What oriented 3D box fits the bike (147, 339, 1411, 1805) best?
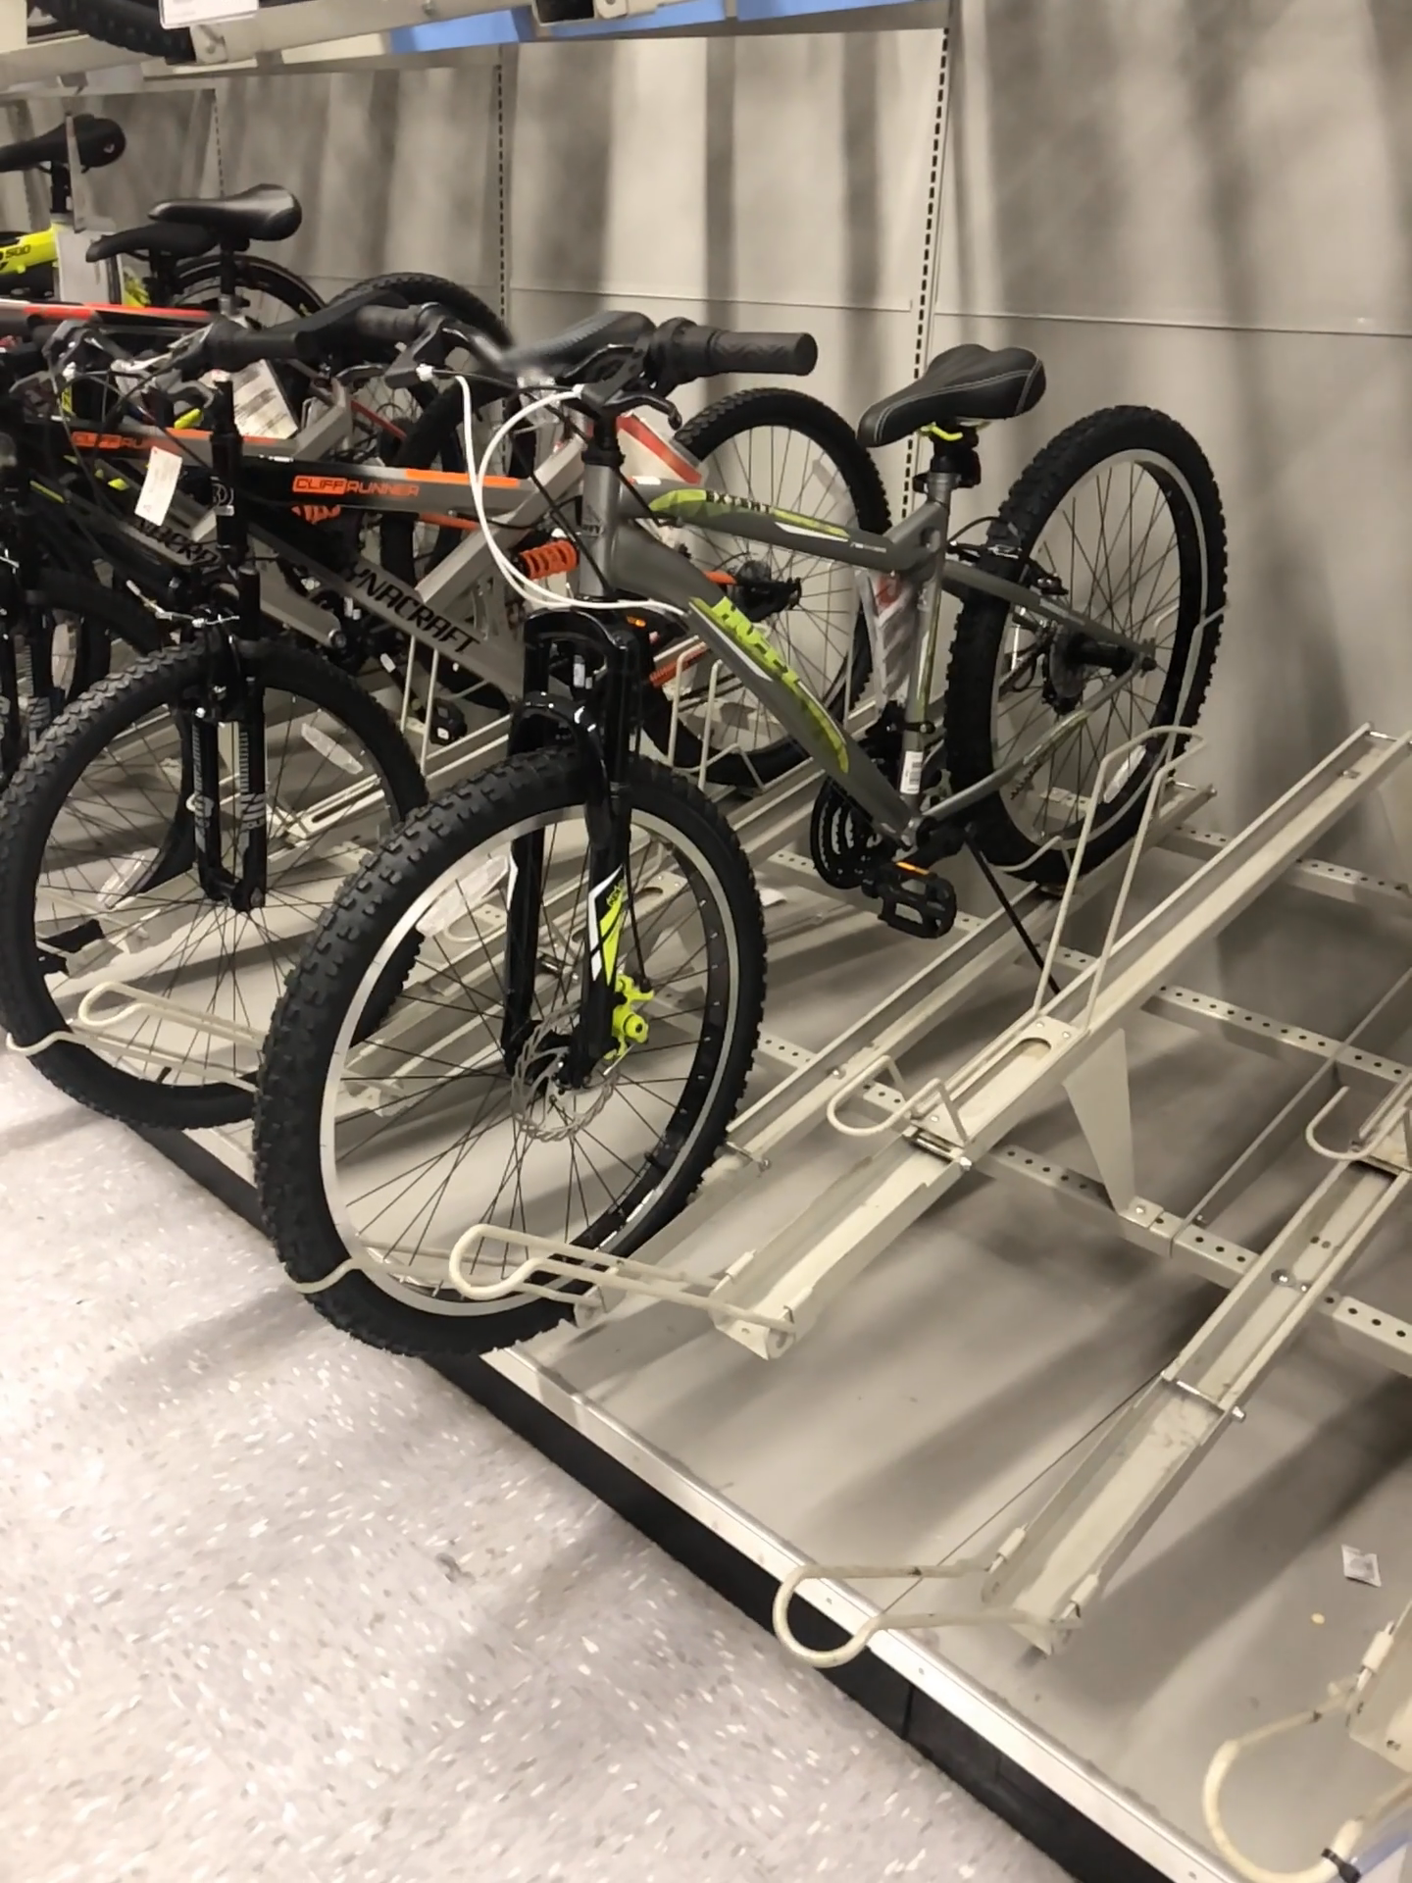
[{"bbox_3d":[0.250,-0.097,1.876,0.609,0.729,1.720,23,42,40],"label":"bike"}]
